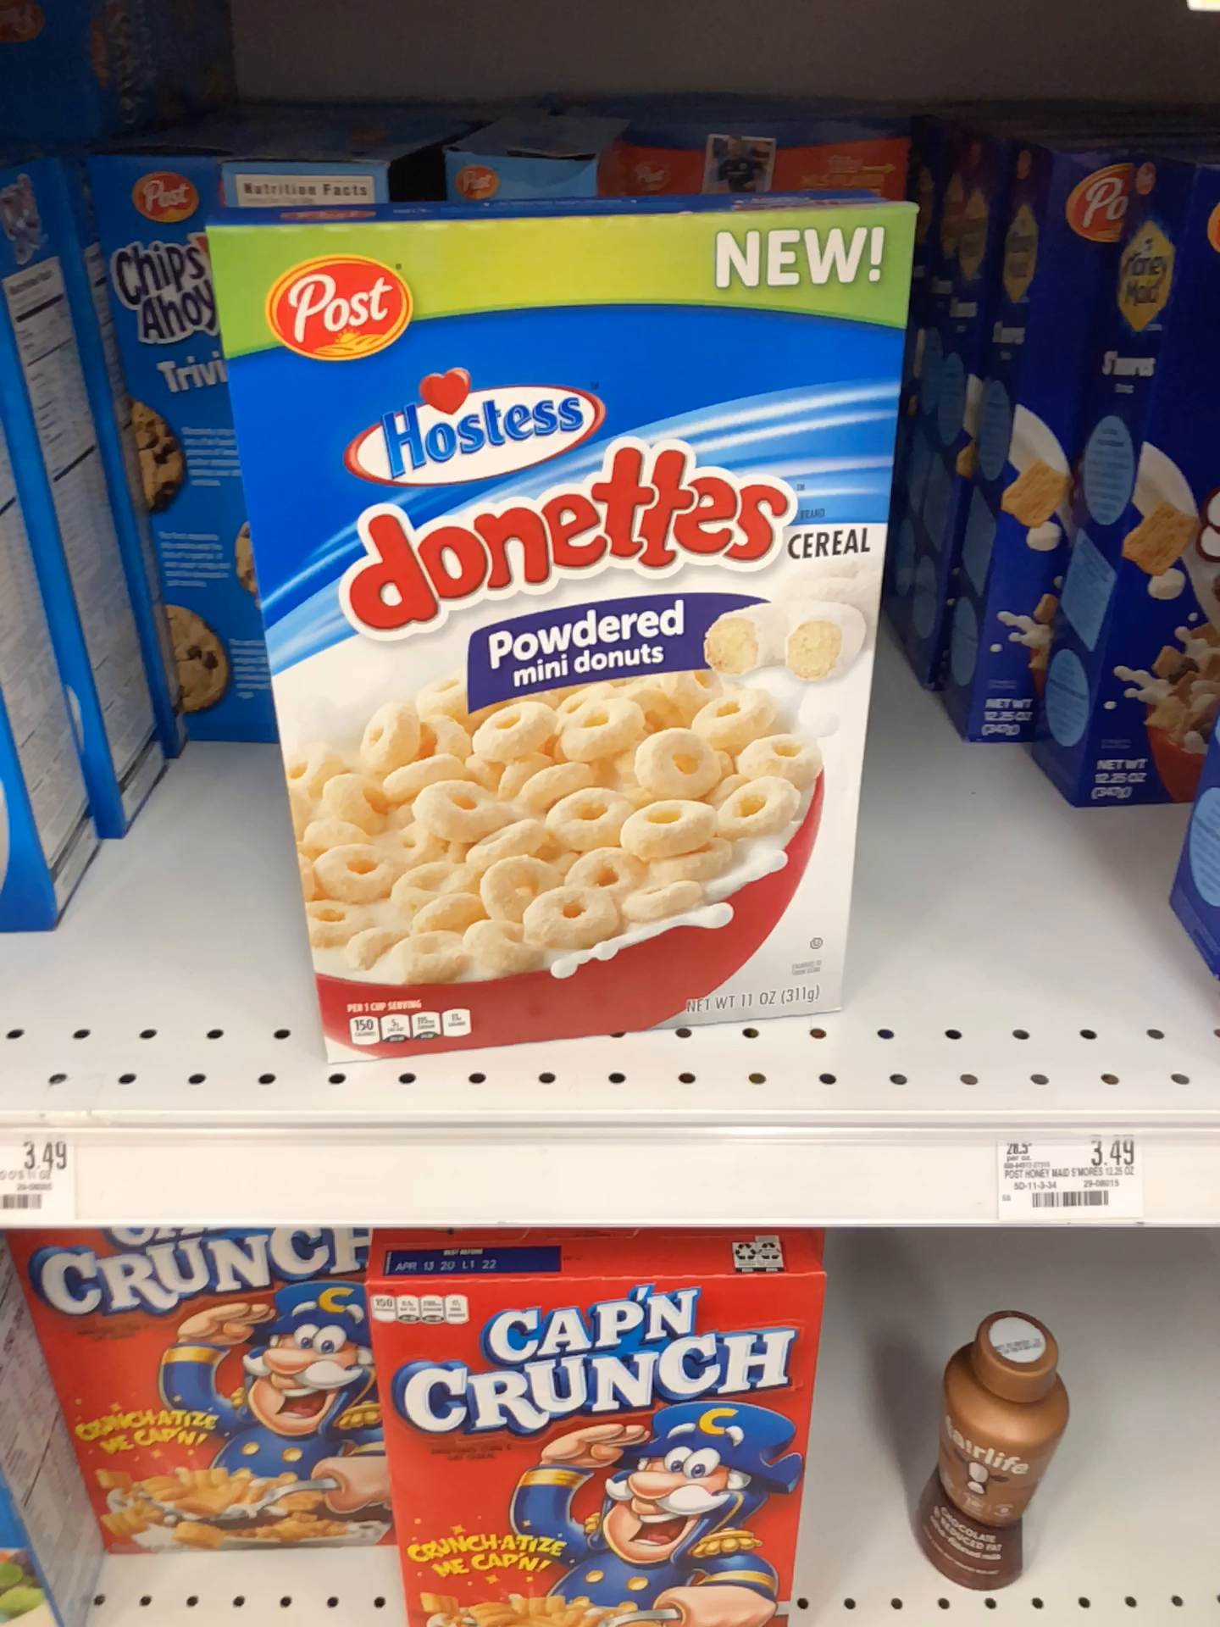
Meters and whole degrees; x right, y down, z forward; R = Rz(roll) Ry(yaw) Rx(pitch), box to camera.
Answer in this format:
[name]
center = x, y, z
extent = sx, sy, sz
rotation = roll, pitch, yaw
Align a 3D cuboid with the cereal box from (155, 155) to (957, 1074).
[cereal box]
center = -0.012, -0.051, 0.407
extent = 0.190, 0.259, 0.060
rotation = -5, 30, -7
